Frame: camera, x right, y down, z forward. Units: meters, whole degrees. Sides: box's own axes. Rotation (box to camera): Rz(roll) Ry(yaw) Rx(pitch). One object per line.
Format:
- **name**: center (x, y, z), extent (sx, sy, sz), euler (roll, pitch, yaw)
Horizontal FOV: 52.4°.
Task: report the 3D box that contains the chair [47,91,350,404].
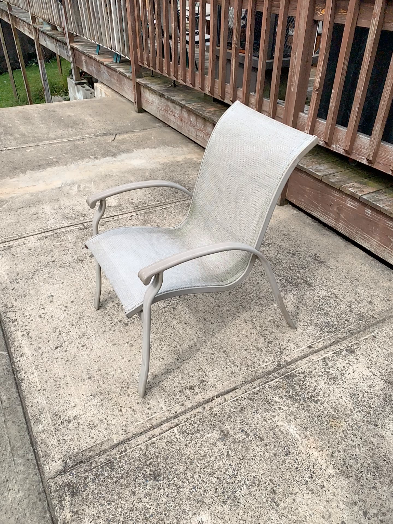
- **chair**: center (-0.030, -0.111, 1.573), extent (0.791, 0.845, 0.653), euler (-17, 40, -24)
